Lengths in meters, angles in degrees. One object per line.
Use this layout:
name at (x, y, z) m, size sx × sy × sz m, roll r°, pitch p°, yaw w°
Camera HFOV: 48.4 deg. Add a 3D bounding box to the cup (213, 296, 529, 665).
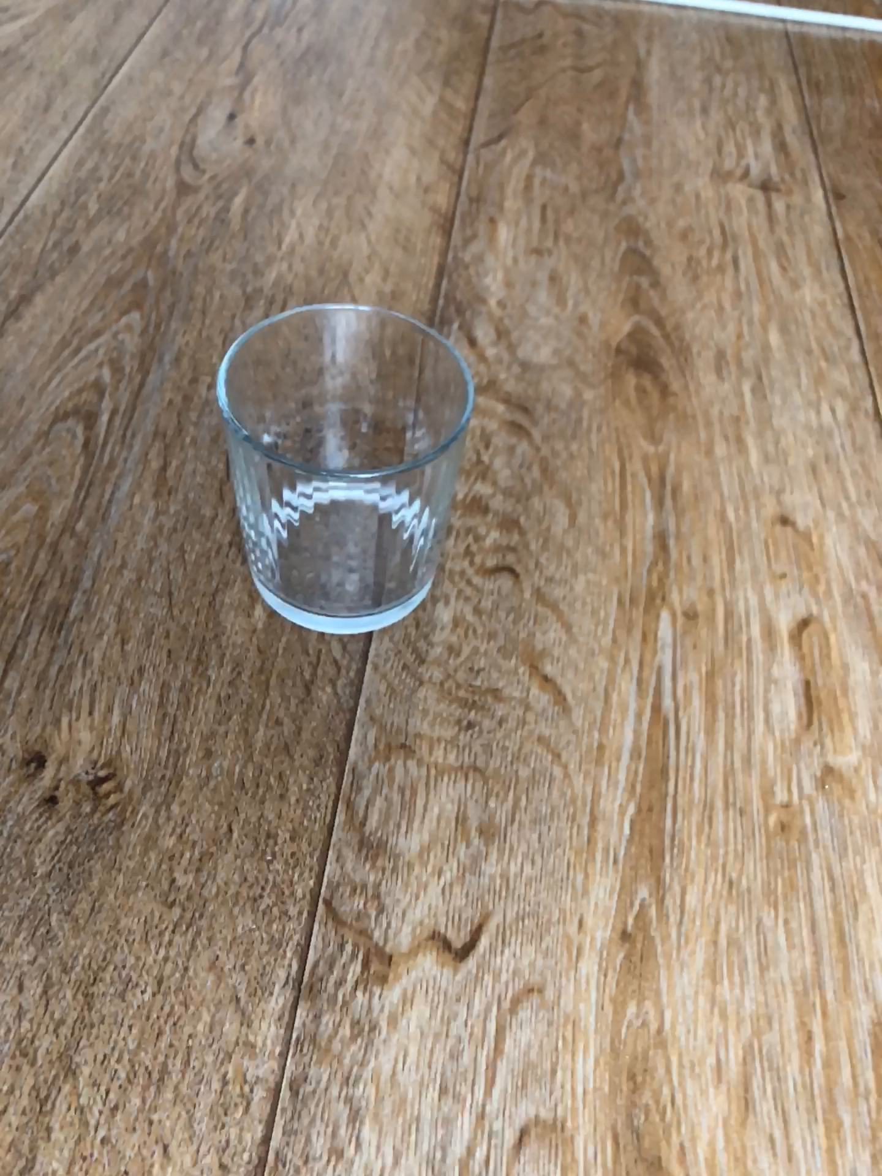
cup at (-0.026, -0.034, 0.314) m, size 0.078 × 0.079 × 0.076 m, roll 4°, pitch 52°, yaw -5°
